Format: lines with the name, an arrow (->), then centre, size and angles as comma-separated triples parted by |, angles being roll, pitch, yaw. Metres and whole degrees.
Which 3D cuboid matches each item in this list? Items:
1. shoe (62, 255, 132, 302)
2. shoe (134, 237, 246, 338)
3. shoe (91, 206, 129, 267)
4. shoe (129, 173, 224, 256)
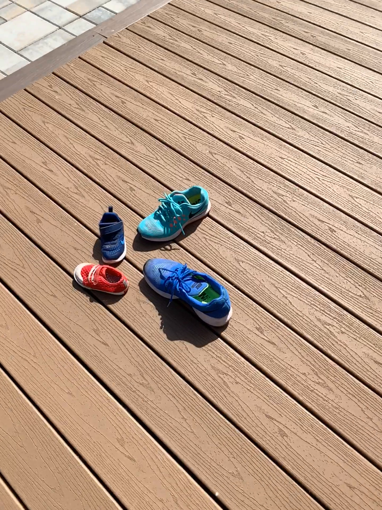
shoe -> -0.267, 0.067, 1.121 | 0.170, 0.060, 0.080 | 13, 59, 9
shoe -> -0.006, 0.085, 1.090 | 0.291, 0.090, 0.120 | 32, 64, 19
shoe -> -0.242, -0.058, 1.183 | 0.090, 0.070, 0.170 | -3, 58, -1
shoe -> -0.041, -0.129, 1.225 | 0.270, 0.090, 0.120 | -32, 63, -18
